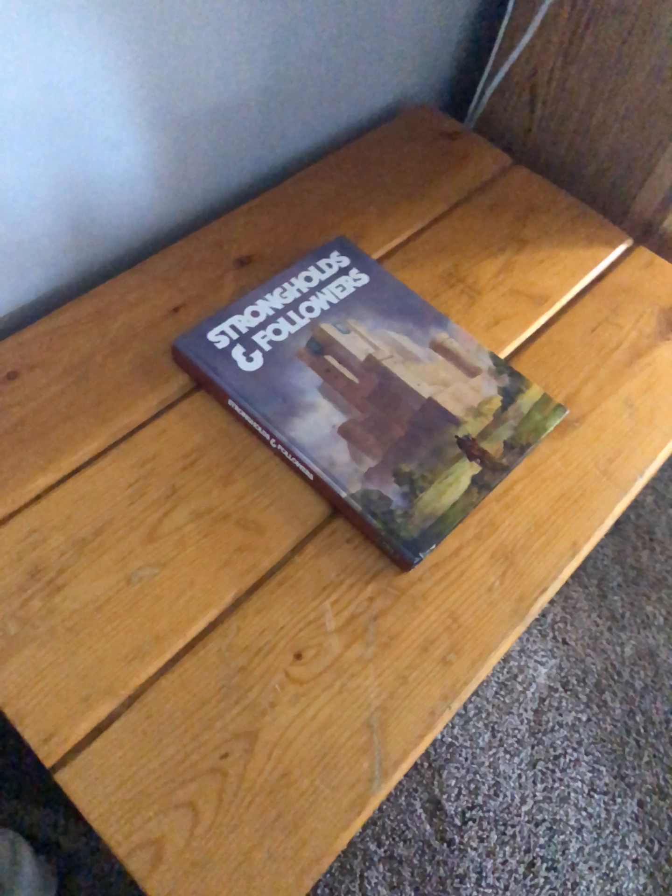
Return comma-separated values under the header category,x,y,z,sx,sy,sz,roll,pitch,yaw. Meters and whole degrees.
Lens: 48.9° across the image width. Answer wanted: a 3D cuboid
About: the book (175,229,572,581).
category,x,y,z,sx,sy,sz,roll,pitch,yaw
book,0.032,-0.055,0.663,0.281,0.042,0.213,42,62,16
